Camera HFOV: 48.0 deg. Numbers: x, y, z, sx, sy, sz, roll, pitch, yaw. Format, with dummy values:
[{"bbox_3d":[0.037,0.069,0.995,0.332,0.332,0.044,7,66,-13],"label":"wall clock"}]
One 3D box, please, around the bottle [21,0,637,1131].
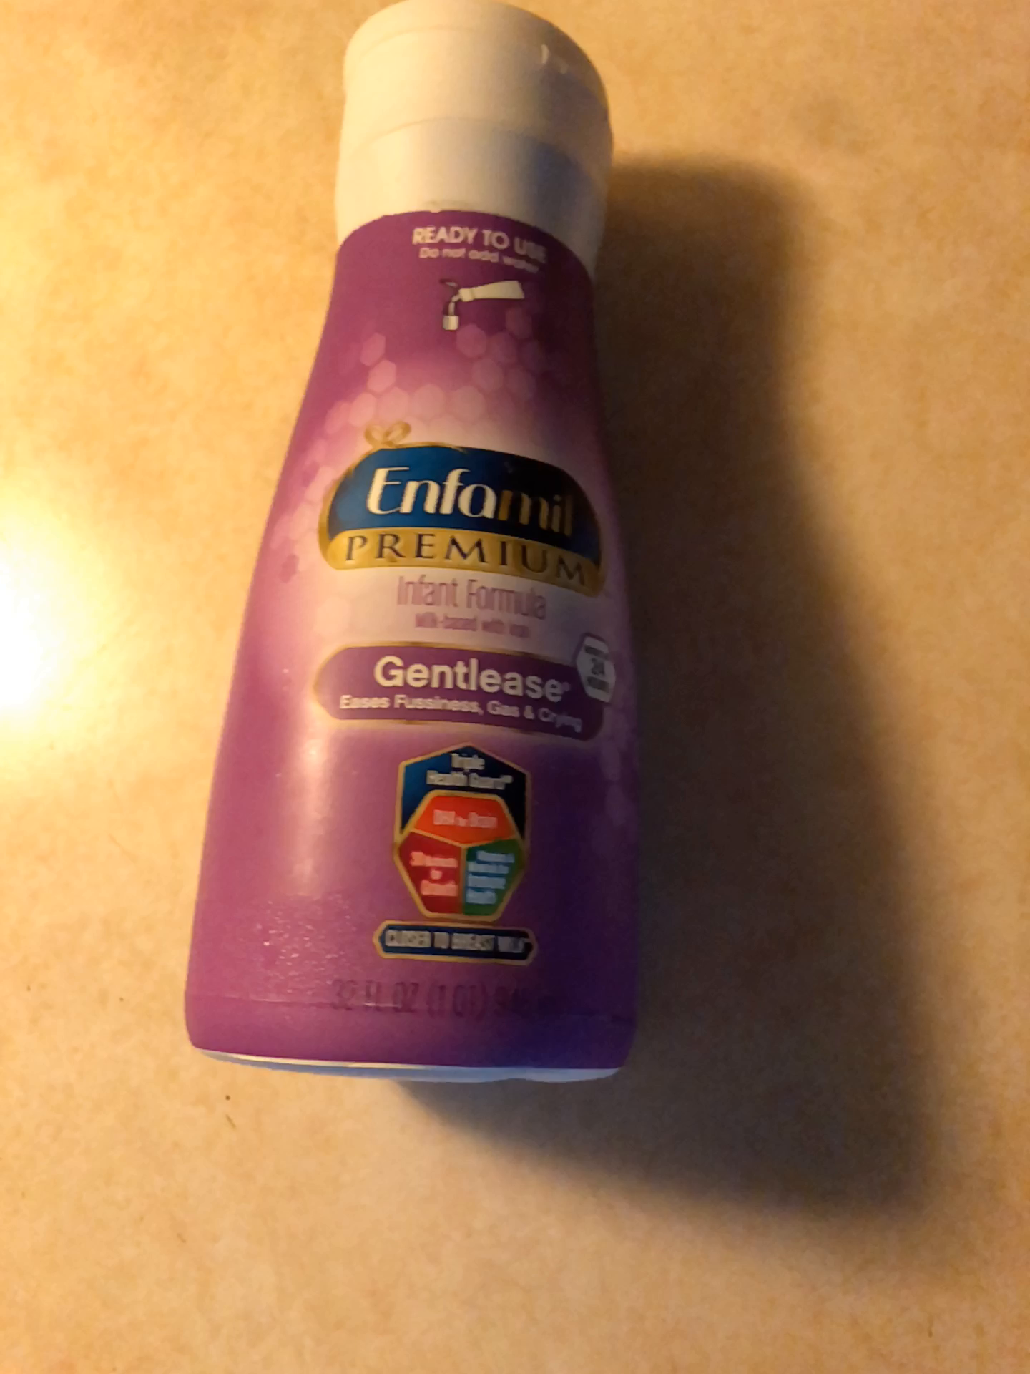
[{"bbox_3d":[-0.031,-0.057,0.258,0.090,0.100,0.280,4,77,-8],"label":"bottle"}]
